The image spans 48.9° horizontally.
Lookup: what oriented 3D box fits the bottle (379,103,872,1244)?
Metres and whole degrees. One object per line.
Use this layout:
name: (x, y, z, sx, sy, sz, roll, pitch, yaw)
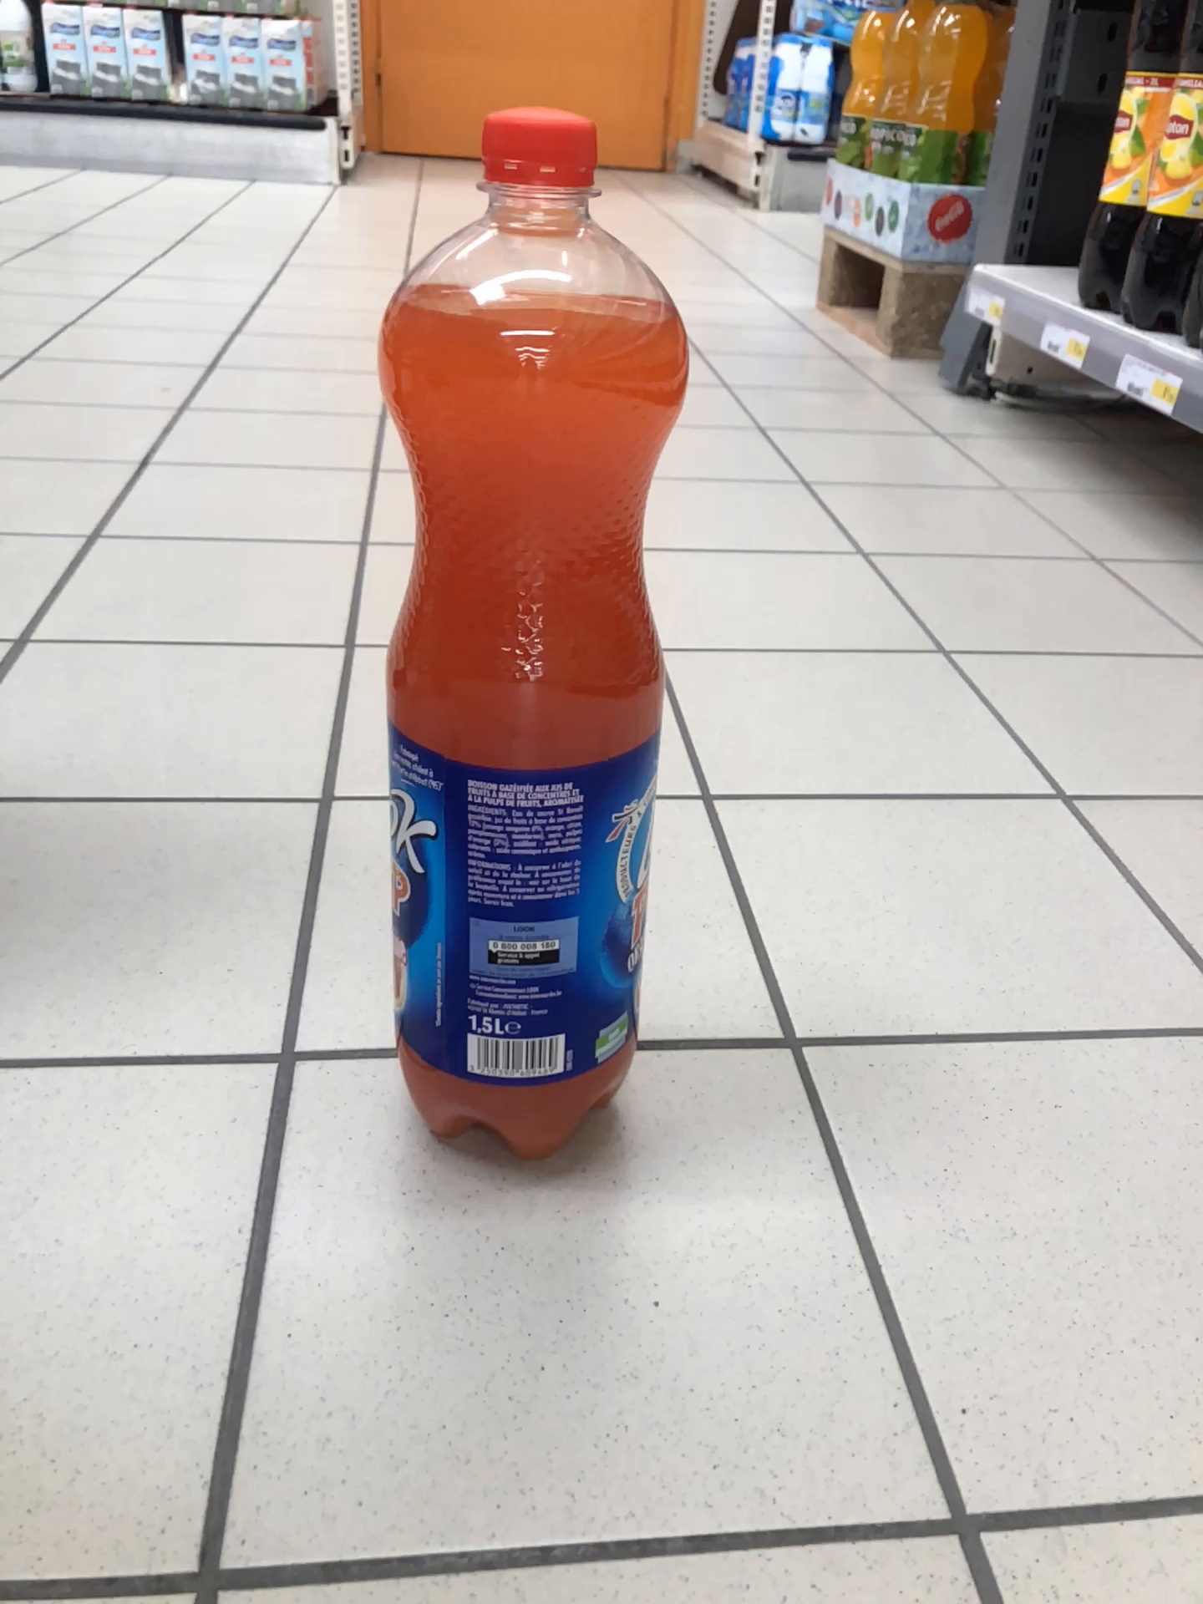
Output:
bottle: (-0.004, -0.027, 0.389, 0.100, 0.308, 0.111, 3, 28, -1)
